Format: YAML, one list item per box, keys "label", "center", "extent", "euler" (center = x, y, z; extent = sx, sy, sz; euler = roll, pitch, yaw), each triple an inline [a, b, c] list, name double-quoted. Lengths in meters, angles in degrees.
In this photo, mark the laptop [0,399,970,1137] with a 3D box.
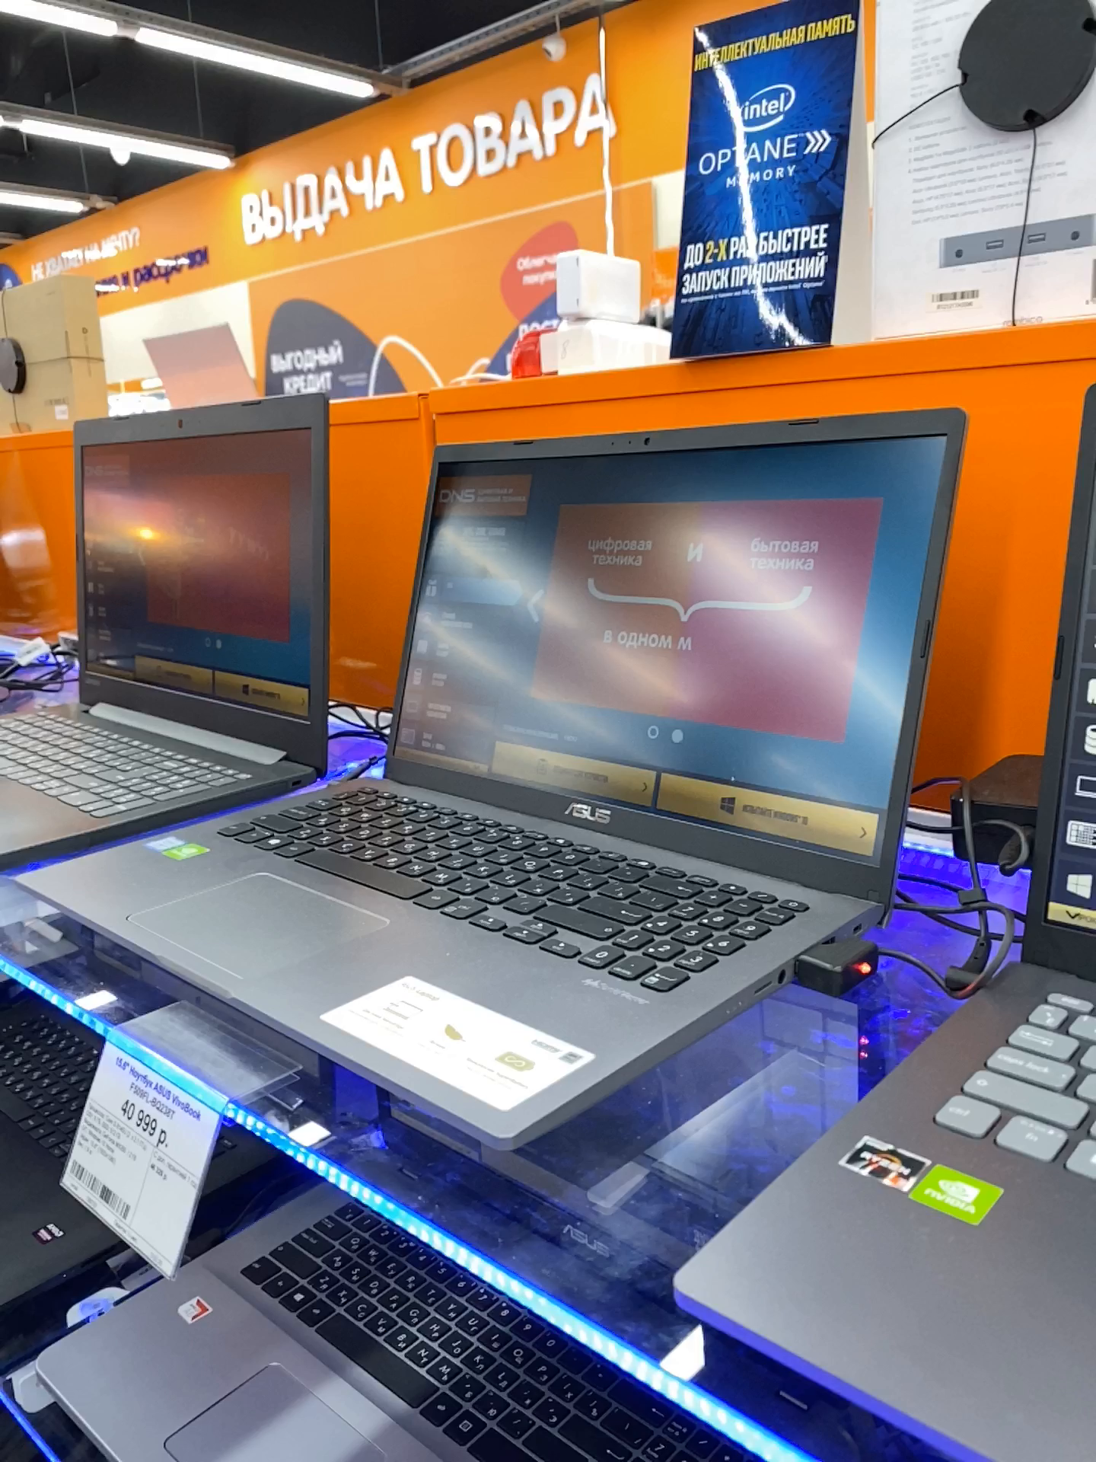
- label: "laptop"
  center: [-0.042, -0.035, 0.540]
  extent: [0.358, 0.211, 0.306]
  euler: [9, 17, 42]
